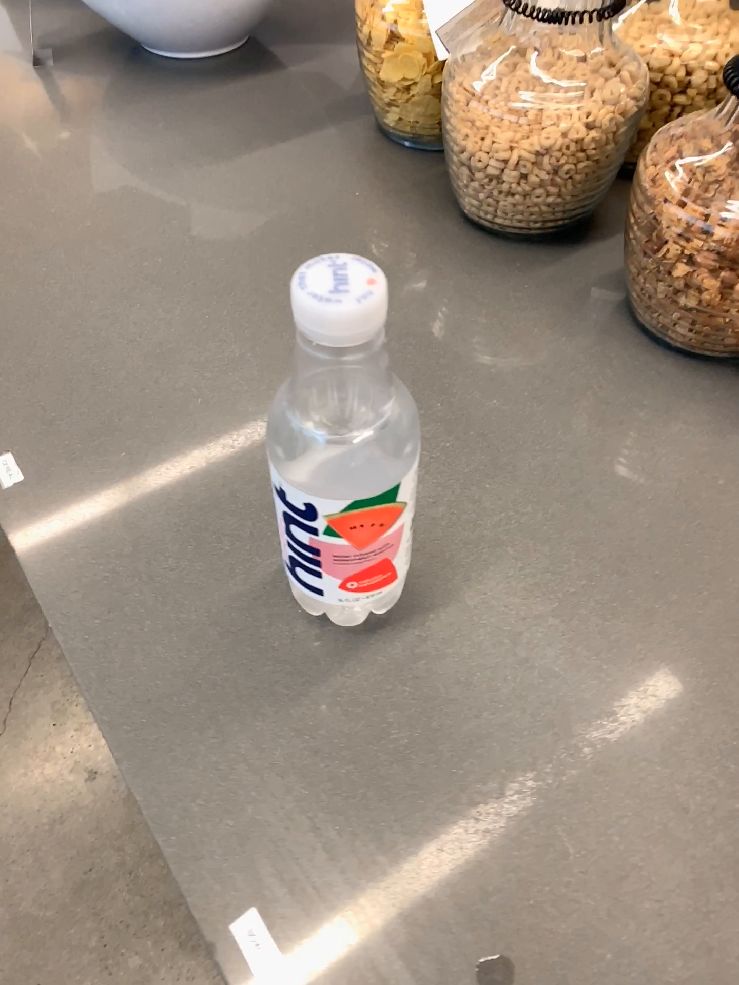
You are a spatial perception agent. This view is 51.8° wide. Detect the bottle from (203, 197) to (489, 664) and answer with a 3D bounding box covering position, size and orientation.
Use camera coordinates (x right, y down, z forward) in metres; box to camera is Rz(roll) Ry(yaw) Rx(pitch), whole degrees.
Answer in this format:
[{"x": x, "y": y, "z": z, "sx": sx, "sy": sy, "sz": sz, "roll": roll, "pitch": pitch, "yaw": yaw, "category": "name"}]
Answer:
[{"x": -0.010, "y": -0.013, "z": 0.339, "sx": 0.070, "sy": 0.199, "sz": 0.070, "roll": 0, "pitch": 52, "yaw": 0, "category": "bottle"}]
